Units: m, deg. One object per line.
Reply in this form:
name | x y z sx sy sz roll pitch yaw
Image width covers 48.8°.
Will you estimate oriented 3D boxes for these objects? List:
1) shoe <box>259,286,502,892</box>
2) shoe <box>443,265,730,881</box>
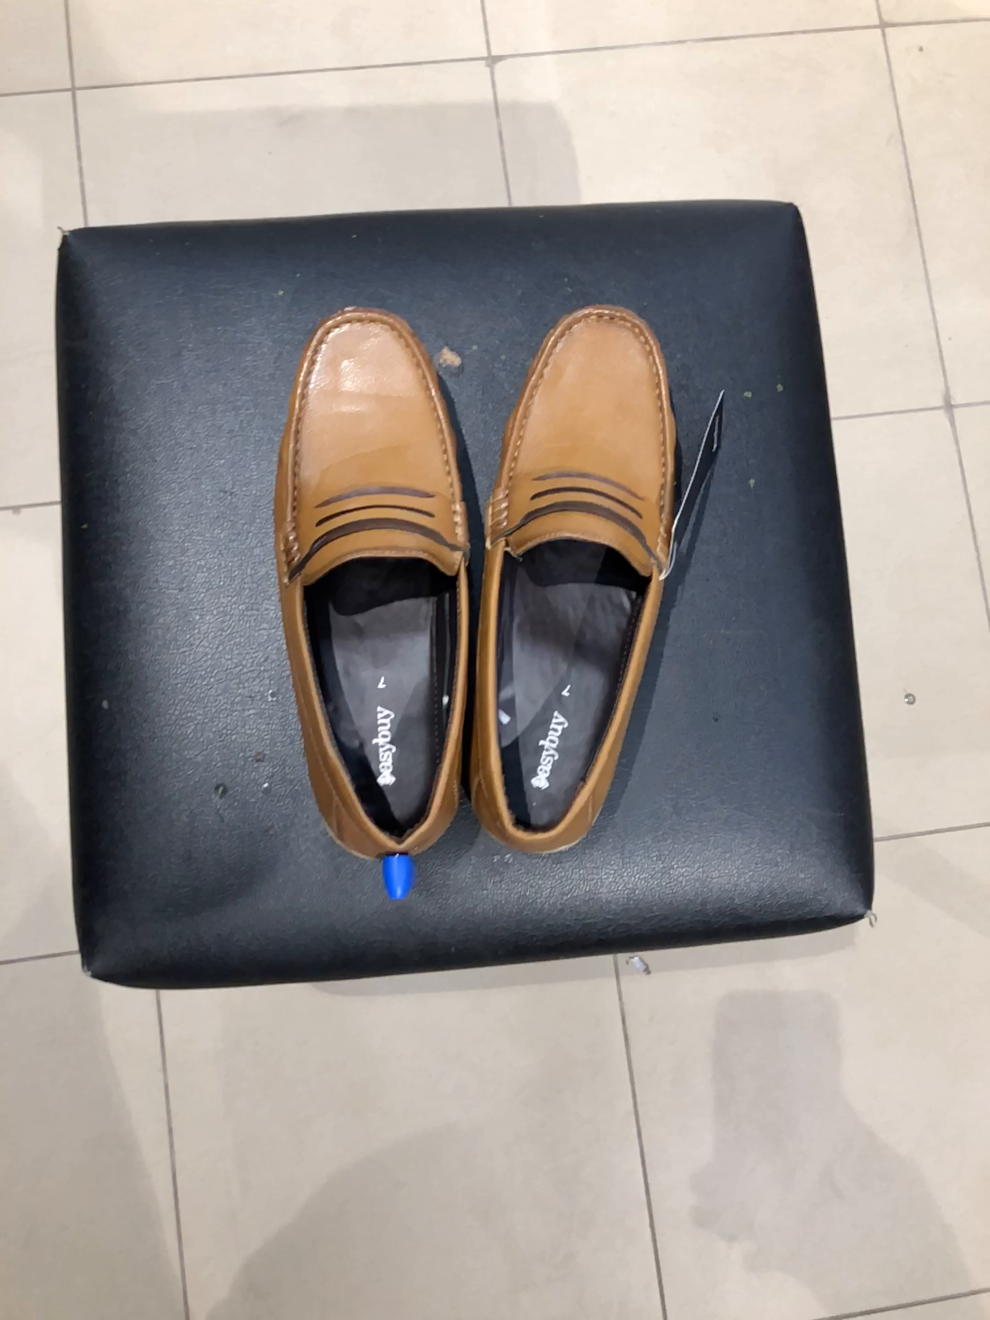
shoe | -0.056 -0.032 0.534 0.098 0.088 0.273 -2 83 -4
shoe | 0.042 -0.038 0.538 0.098 0.088 0.273 8 83 -3
